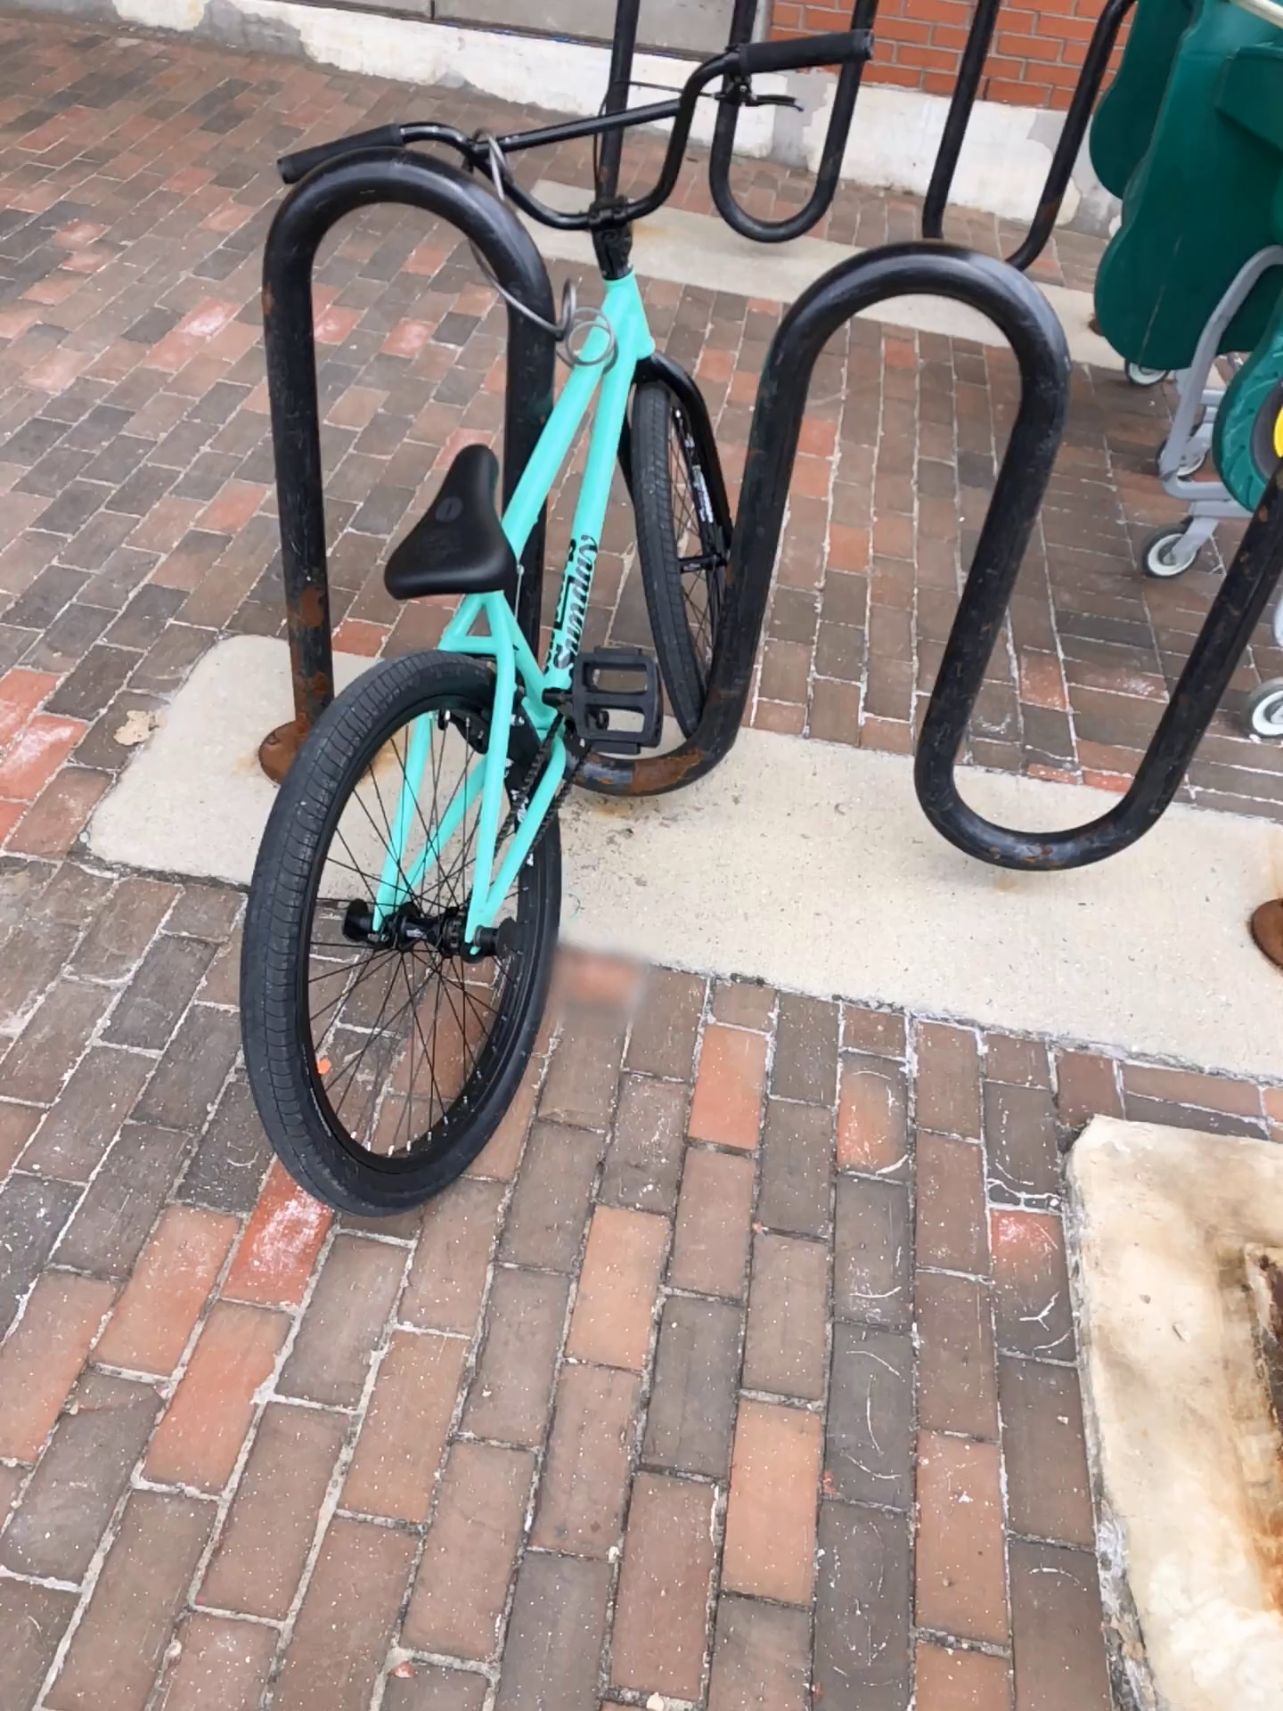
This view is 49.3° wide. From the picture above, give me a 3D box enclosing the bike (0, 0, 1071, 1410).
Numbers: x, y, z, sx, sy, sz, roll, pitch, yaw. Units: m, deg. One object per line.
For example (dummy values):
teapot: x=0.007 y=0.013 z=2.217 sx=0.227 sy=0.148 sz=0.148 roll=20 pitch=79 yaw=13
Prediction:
bike: x=-0.105 y=-0.391 z=1.669 sx=0.810 sy=1.067 sz=1.472 roll=14 pitch=45 yaw=8
